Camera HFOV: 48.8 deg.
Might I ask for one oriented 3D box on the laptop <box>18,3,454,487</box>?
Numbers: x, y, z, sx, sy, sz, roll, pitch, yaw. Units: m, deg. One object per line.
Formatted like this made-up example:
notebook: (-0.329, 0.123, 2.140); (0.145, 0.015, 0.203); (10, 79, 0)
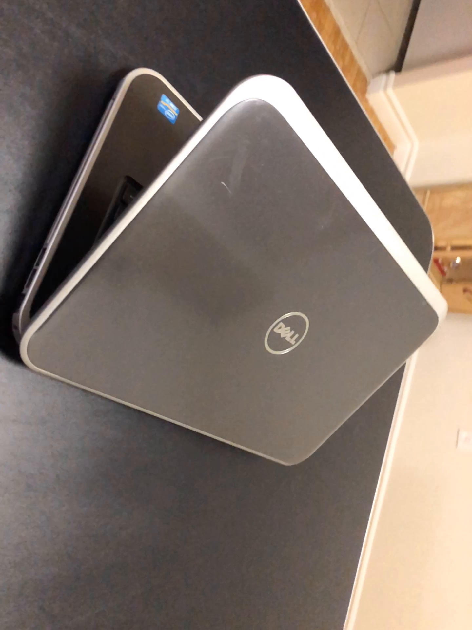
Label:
laptop: (0.047, -0.015, 0.461); (0.358, 0.137, 0.239); (34, 68, -45)
